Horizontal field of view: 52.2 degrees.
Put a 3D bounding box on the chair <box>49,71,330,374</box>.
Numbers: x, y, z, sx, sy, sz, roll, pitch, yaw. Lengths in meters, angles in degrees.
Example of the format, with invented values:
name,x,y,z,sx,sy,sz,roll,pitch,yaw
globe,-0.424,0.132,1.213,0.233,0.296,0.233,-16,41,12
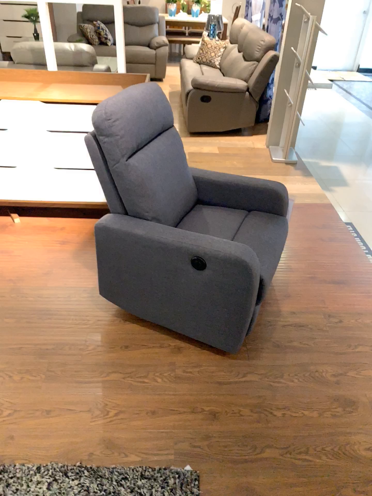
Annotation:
name,x,y,z,sx,sy,sz,roll,pitch,yaw
chair,0.082,-0.203,1.840,0.881,0.966,0.934,14,37,16
